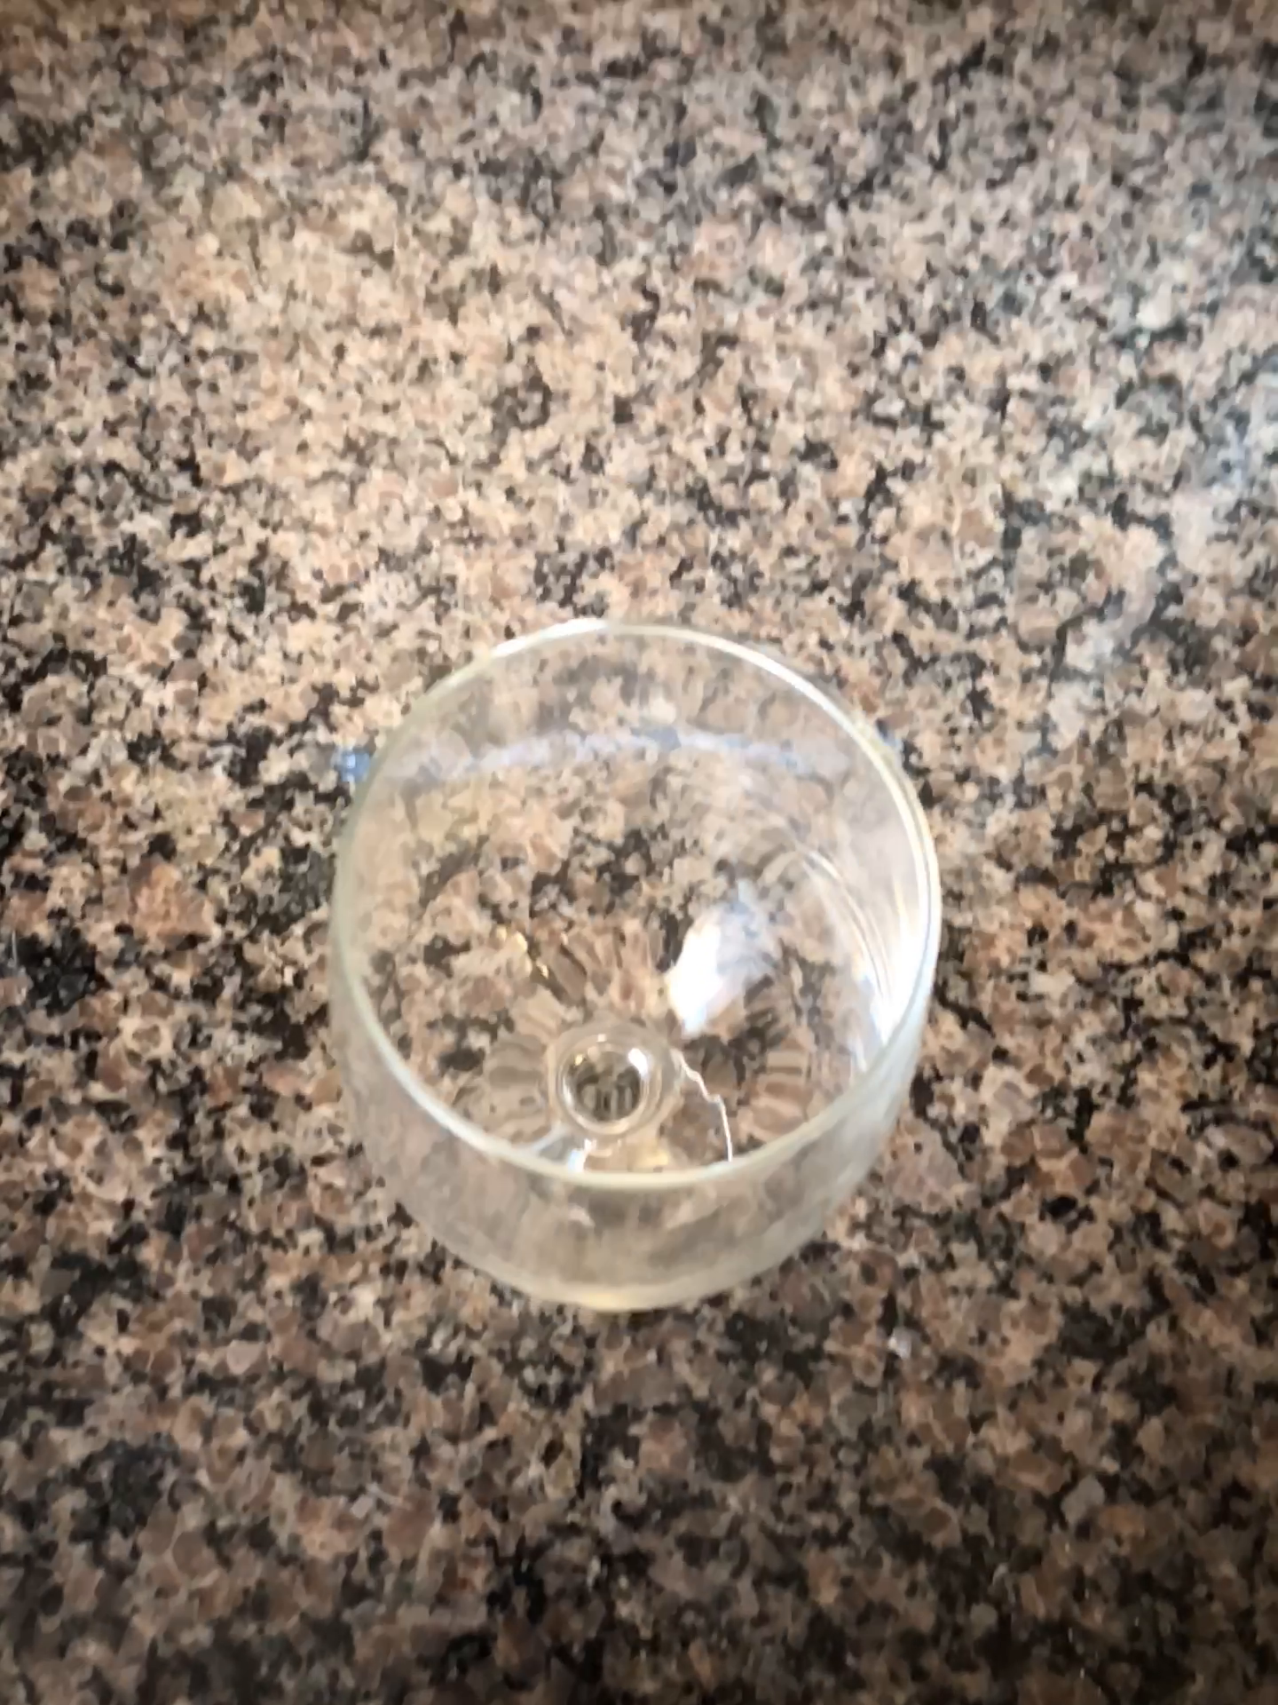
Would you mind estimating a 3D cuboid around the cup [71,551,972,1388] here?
[{"bbox_3d":[-0.015,0.047,0.269,0.095,0.218,0.097,1,69,-2],"label":"cup"}]
